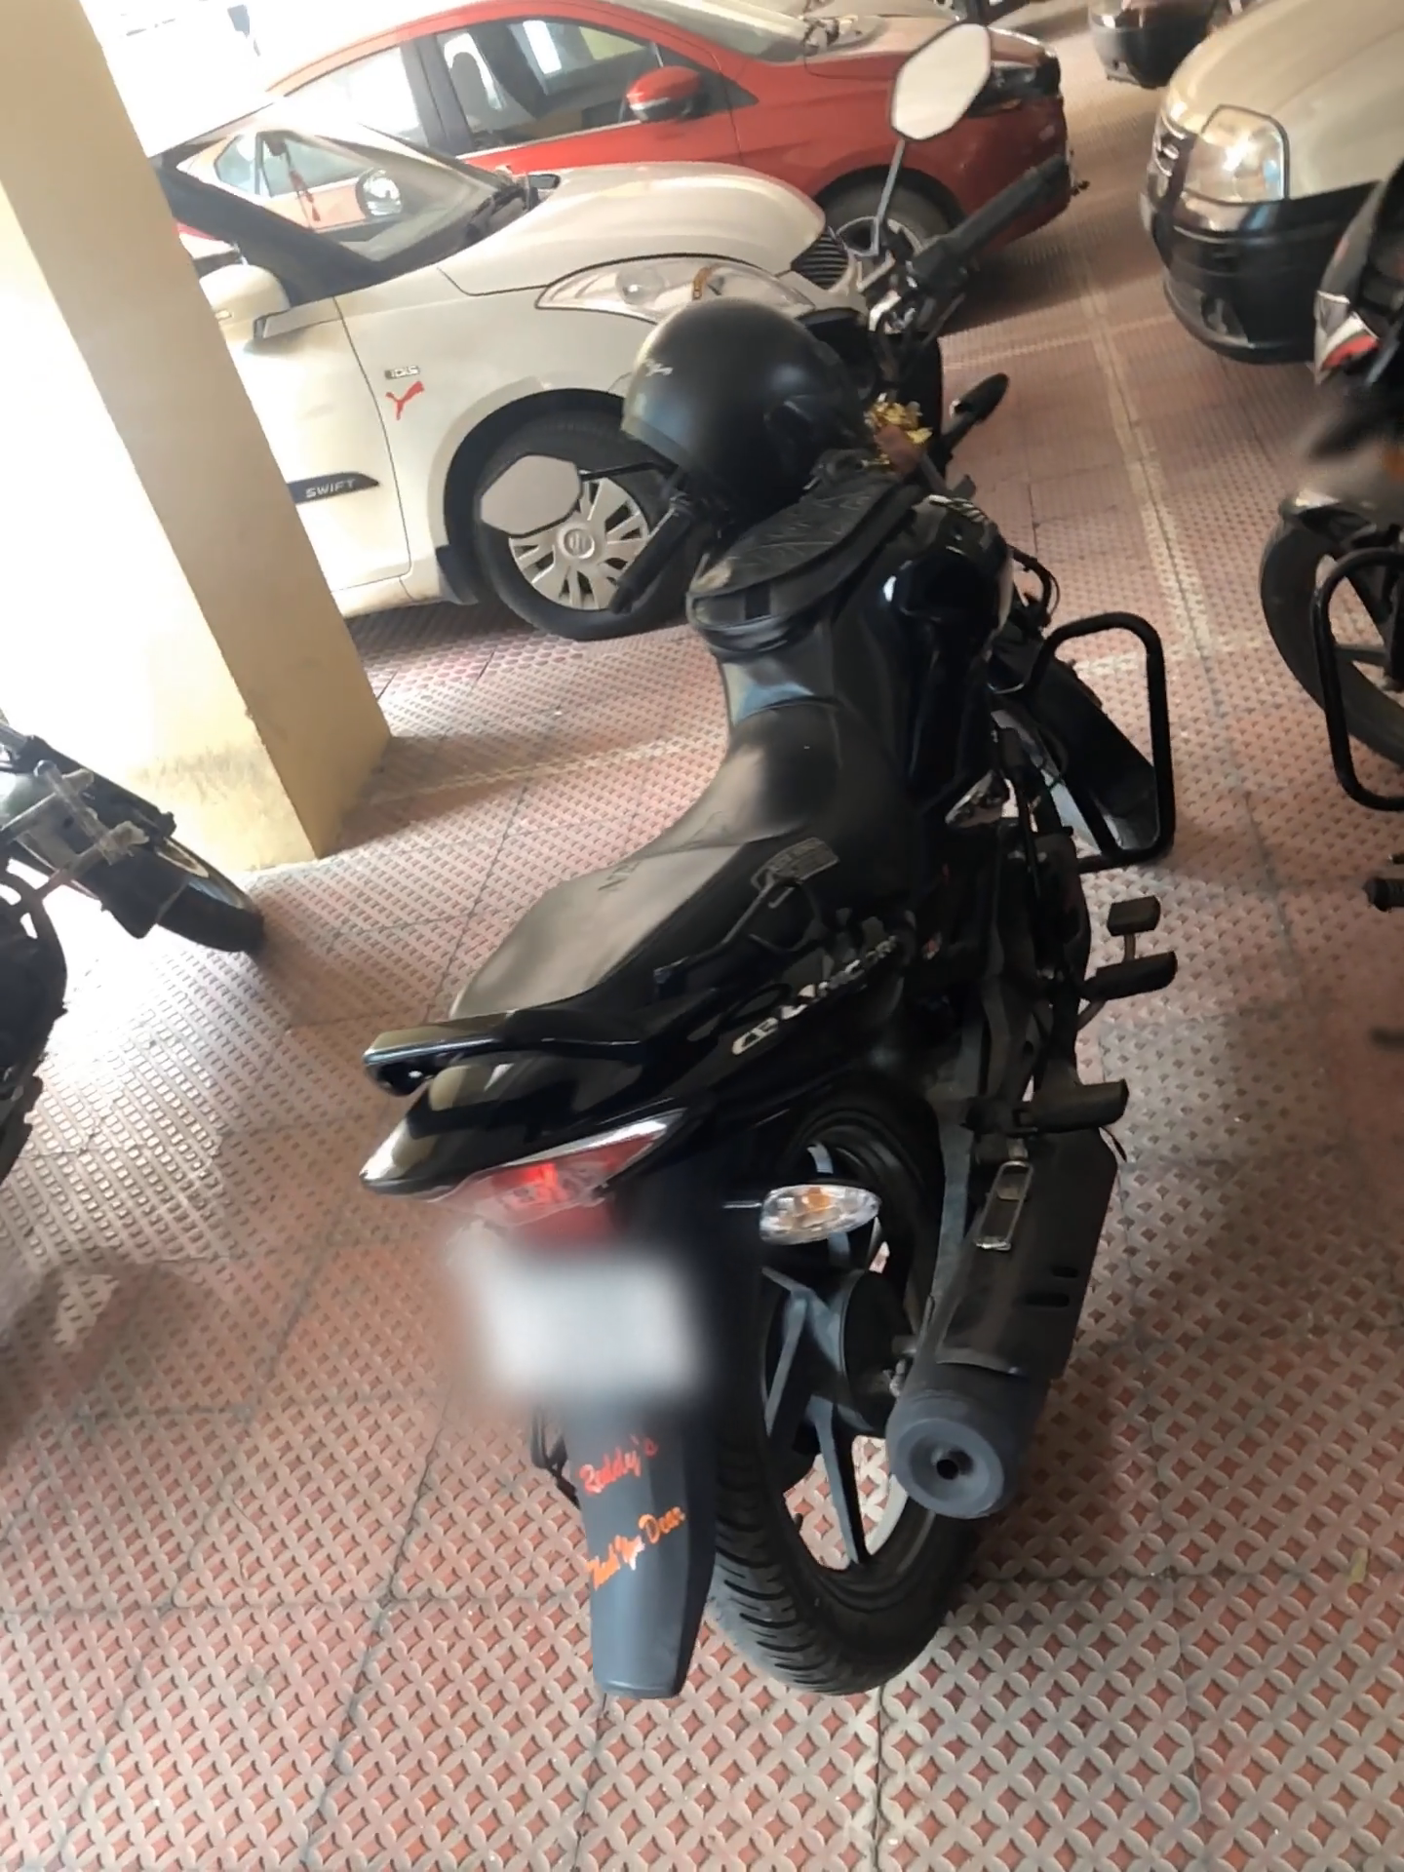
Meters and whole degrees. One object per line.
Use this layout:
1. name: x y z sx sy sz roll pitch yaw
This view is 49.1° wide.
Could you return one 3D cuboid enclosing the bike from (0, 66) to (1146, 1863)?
1. bike: 0.040 -0.150 1.896 0.805 1.200 1.689 -5 36 20
